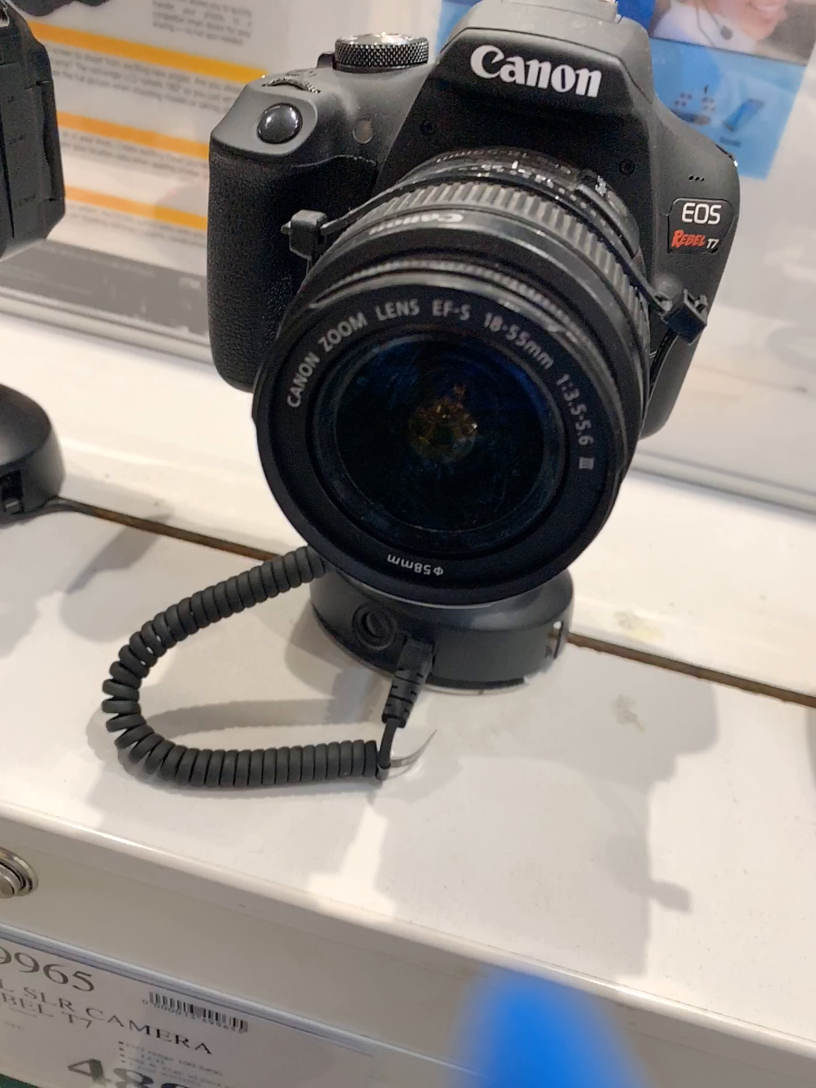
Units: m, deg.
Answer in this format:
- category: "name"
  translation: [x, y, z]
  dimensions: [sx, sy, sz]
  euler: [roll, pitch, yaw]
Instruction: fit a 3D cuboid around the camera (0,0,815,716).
- category: "camera"
  translation: [0.012, -0.062, 0.182]
  dimensions: [0.130, 0.089, 0.141]
  euler: [14, 36, 5]
